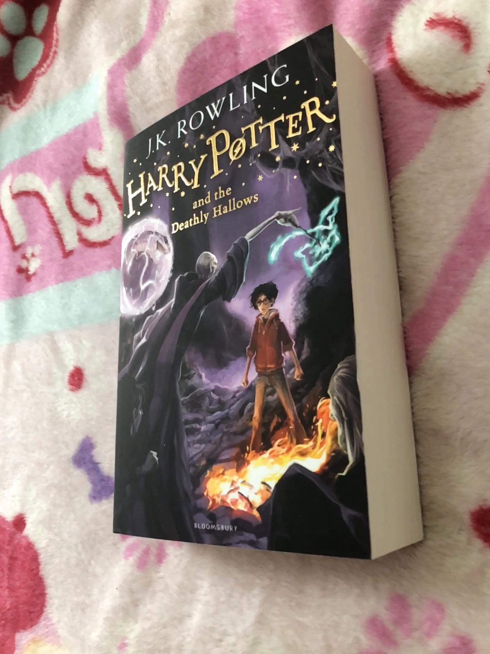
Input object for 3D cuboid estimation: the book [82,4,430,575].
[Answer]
[{"bbox_3d":[-0.004,-0.008,0.234,0.126,0.060,0.187,-12,74,39],"label":"book"}]
